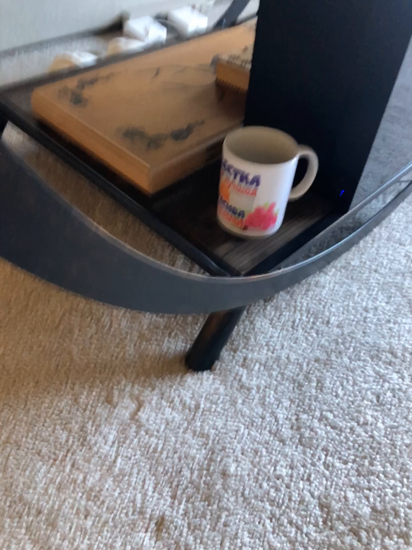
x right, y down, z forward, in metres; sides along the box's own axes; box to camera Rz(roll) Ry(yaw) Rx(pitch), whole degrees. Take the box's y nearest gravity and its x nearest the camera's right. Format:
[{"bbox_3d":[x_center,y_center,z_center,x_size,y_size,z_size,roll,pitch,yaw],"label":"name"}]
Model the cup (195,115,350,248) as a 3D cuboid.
[{"bbox_3d":[0.072,-0.112,0.539,0.140,0.099,0.090,-14,49,-18],"label":"cup"}]
